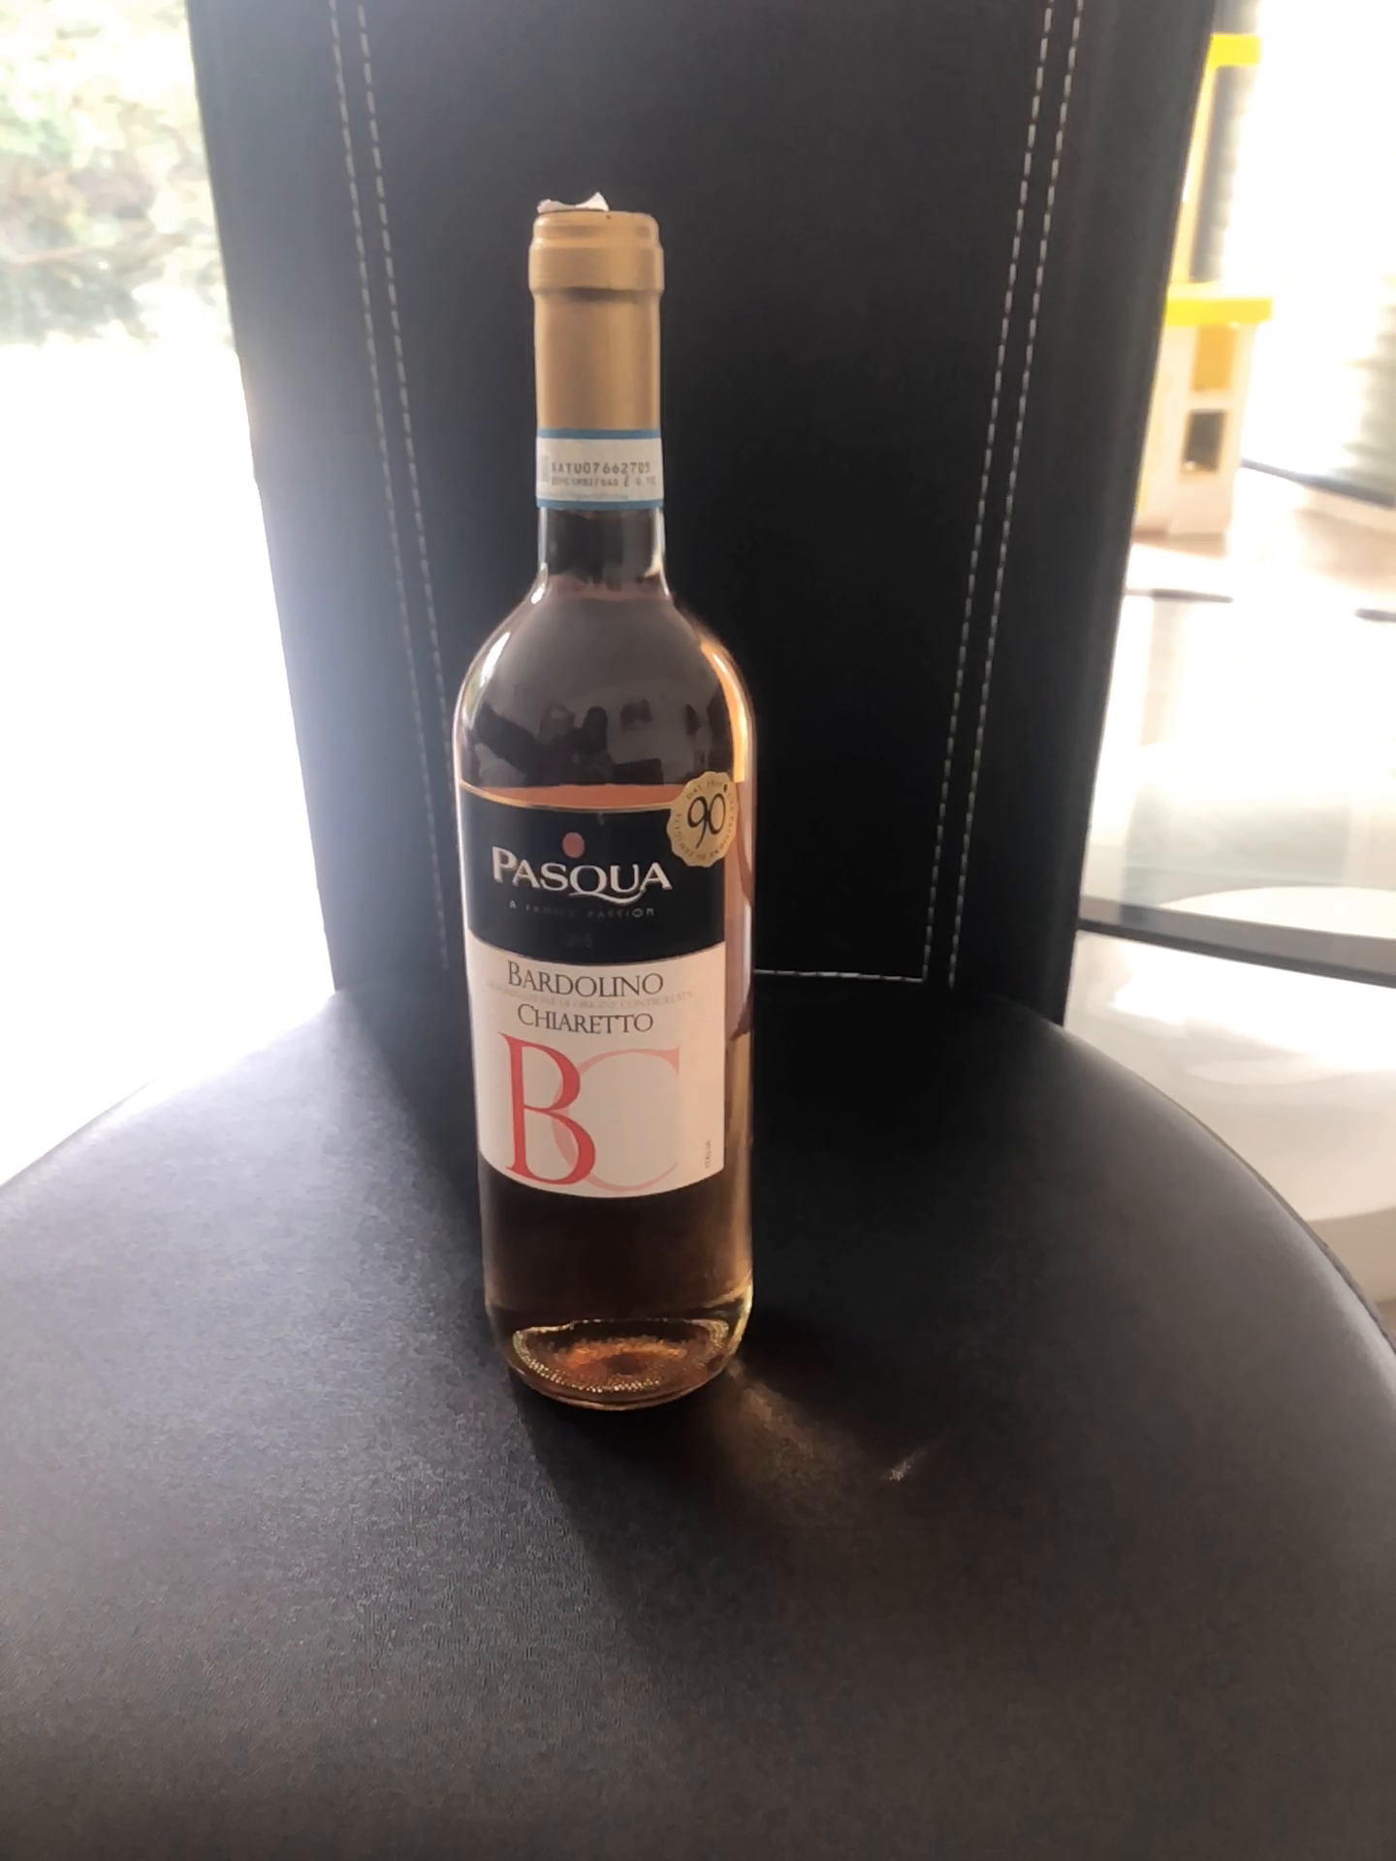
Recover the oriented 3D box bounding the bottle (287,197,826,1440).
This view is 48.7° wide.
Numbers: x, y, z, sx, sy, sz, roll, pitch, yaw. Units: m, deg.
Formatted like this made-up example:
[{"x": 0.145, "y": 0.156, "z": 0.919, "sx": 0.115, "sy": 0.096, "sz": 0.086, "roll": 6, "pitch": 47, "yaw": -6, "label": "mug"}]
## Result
[{"x": -0.025, "y": -0.021, "z": 0.371, "sx": 0.080, "sy": 0.278, "sz": 0.081, "roll": 0, "pitch": 26, "yaw": 0, "label": "bottle"}]
